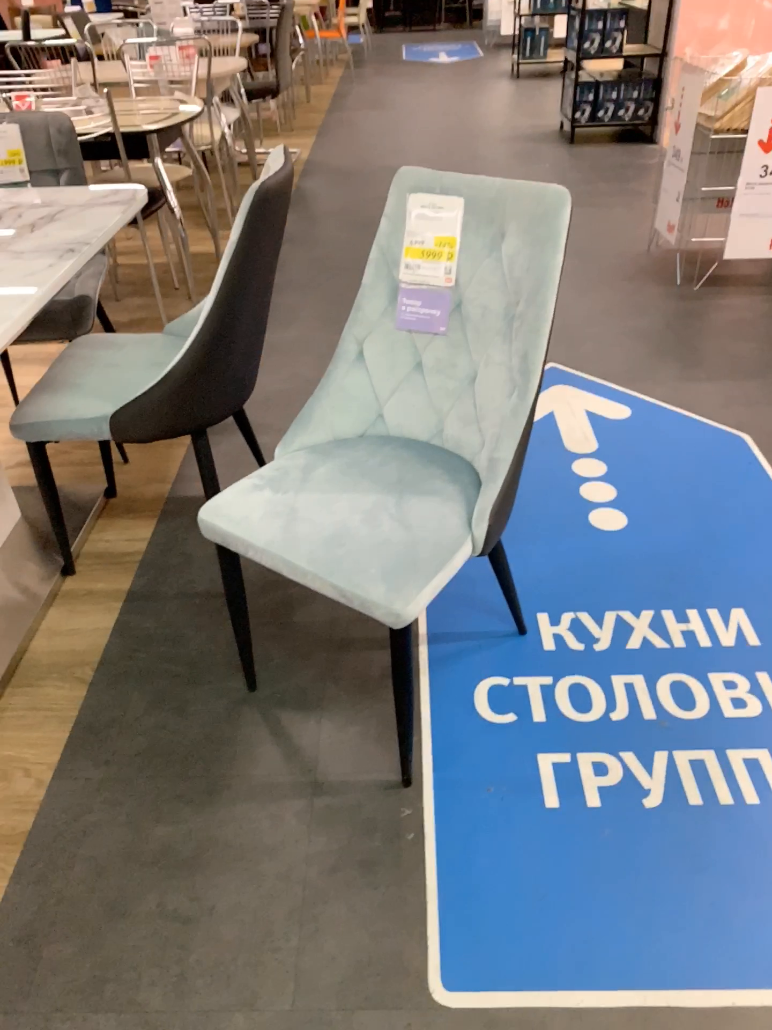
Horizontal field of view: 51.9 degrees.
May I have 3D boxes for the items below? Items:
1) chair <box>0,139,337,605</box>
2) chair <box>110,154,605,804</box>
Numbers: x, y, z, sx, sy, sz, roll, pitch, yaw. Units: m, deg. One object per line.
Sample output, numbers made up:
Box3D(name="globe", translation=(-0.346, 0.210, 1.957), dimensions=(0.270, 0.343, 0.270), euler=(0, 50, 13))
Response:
Box3D(name="chair", translation=(-0.497, -0.320, 1.833), dimensions=(0.665, 0.880, 0.572), euler=(-1, 35, 2))
Box3D(name="chair", translation=(-0.004, -0.081, 1.389), dimensions=(0.471, 0.885, 0.552), euler=(21, 42, 30))
